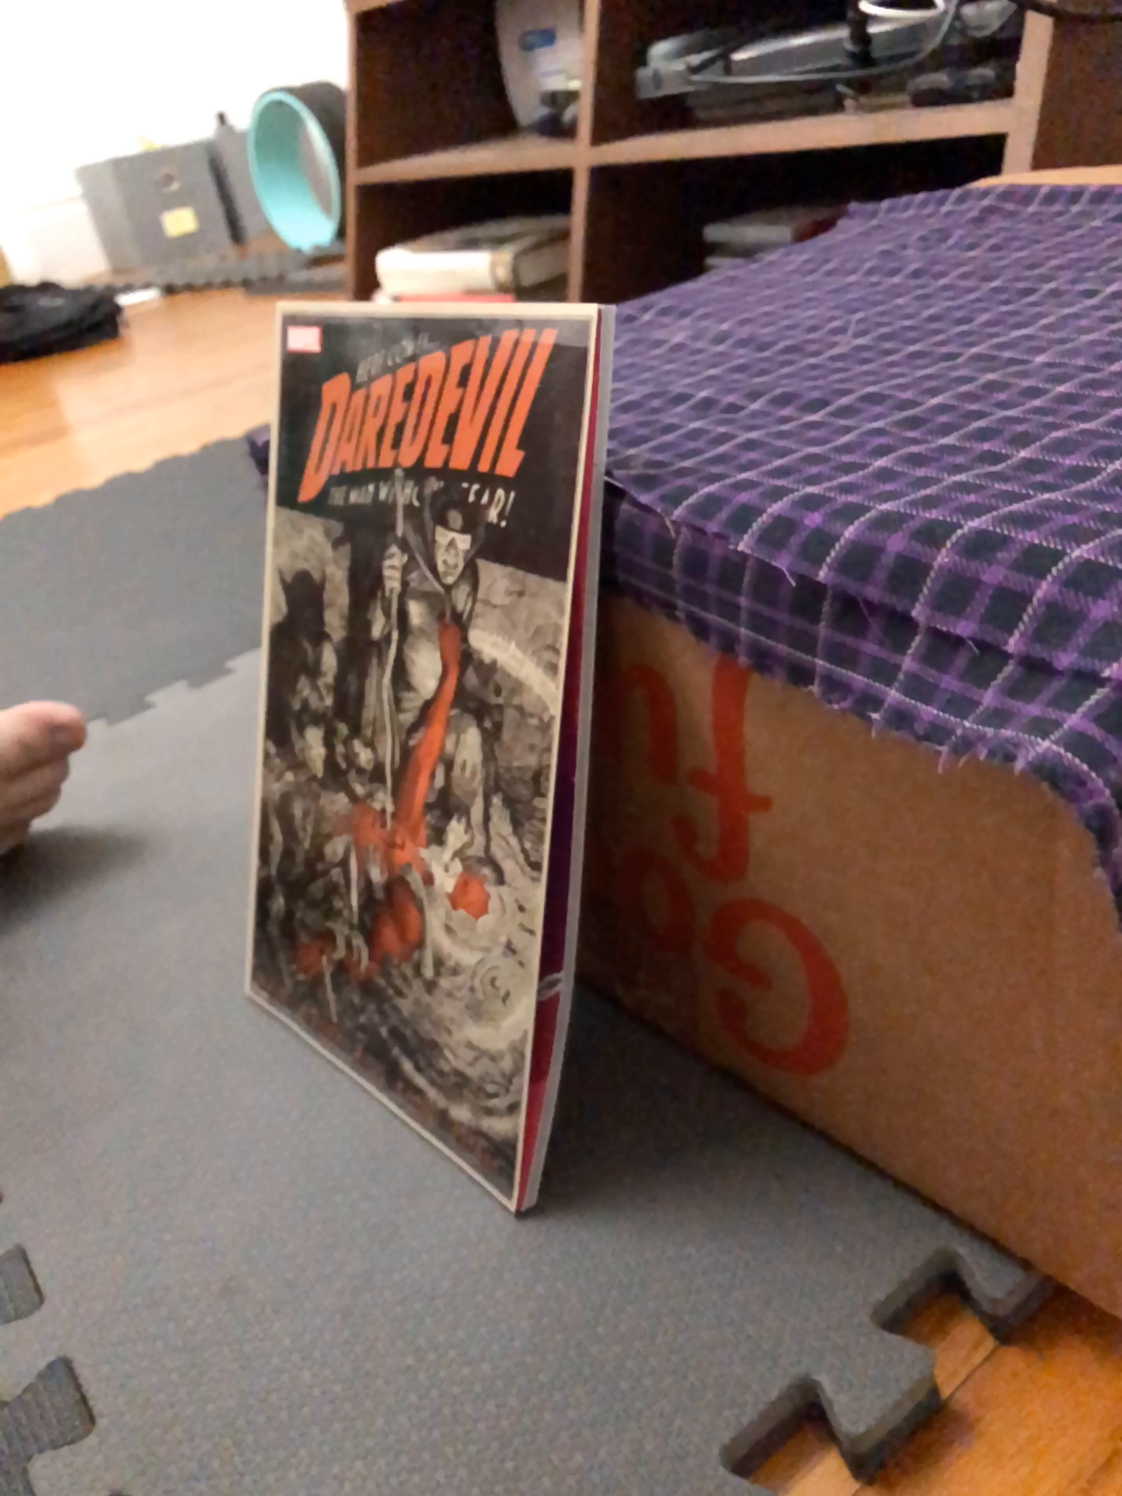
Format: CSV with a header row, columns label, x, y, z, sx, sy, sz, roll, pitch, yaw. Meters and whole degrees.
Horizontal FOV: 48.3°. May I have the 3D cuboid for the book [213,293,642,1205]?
label,x,y,z,sx,sy,sz,roll,pitch,yaw
book,-0.053,-0.011,0.366,0.020,0.229,0.160,-8,20,-41
